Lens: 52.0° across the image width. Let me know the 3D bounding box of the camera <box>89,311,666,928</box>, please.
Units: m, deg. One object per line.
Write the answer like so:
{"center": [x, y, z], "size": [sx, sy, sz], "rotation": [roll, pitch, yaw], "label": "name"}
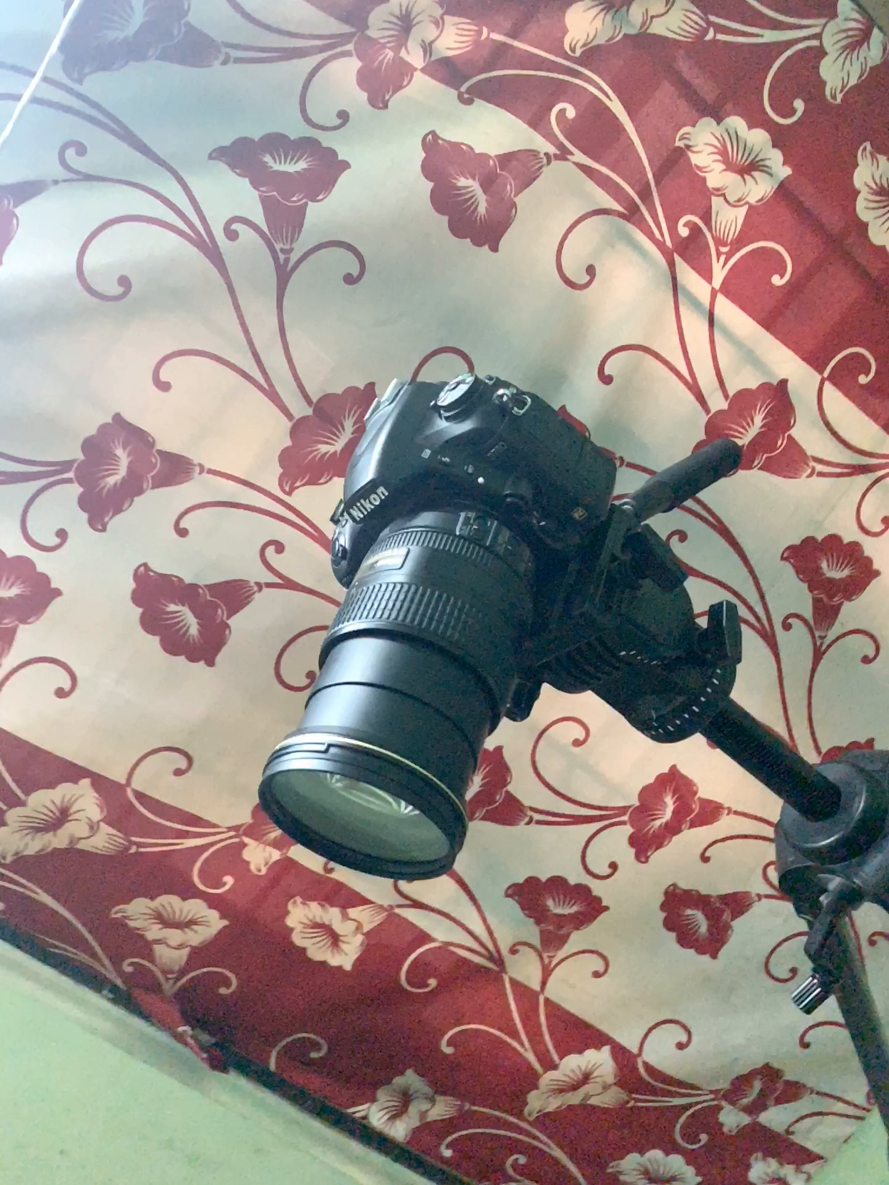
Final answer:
{"center": [-0.024, 0.018, 0.386], "size": [0.173, 0.122, 0.170], "rotation": [-37, 21, 44], "label": "camera"}
